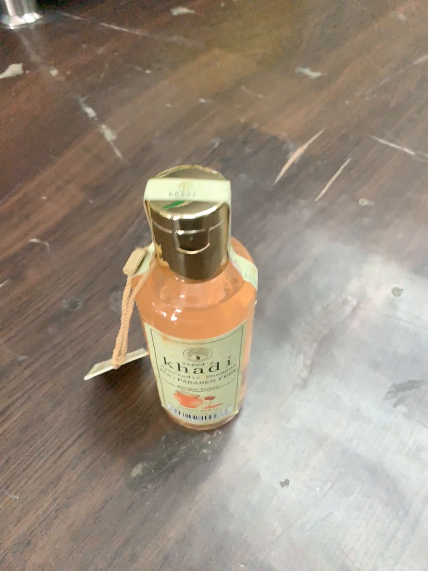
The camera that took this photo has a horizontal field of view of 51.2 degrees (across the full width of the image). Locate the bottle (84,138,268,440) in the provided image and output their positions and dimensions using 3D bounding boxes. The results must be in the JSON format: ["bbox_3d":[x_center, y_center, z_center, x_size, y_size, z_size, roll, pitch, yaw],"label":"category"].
[{"bbox_3d":[-0.010,0.016,0.196,0.050,0.150,0.050,0,52,0],"label":"bottle"}]
